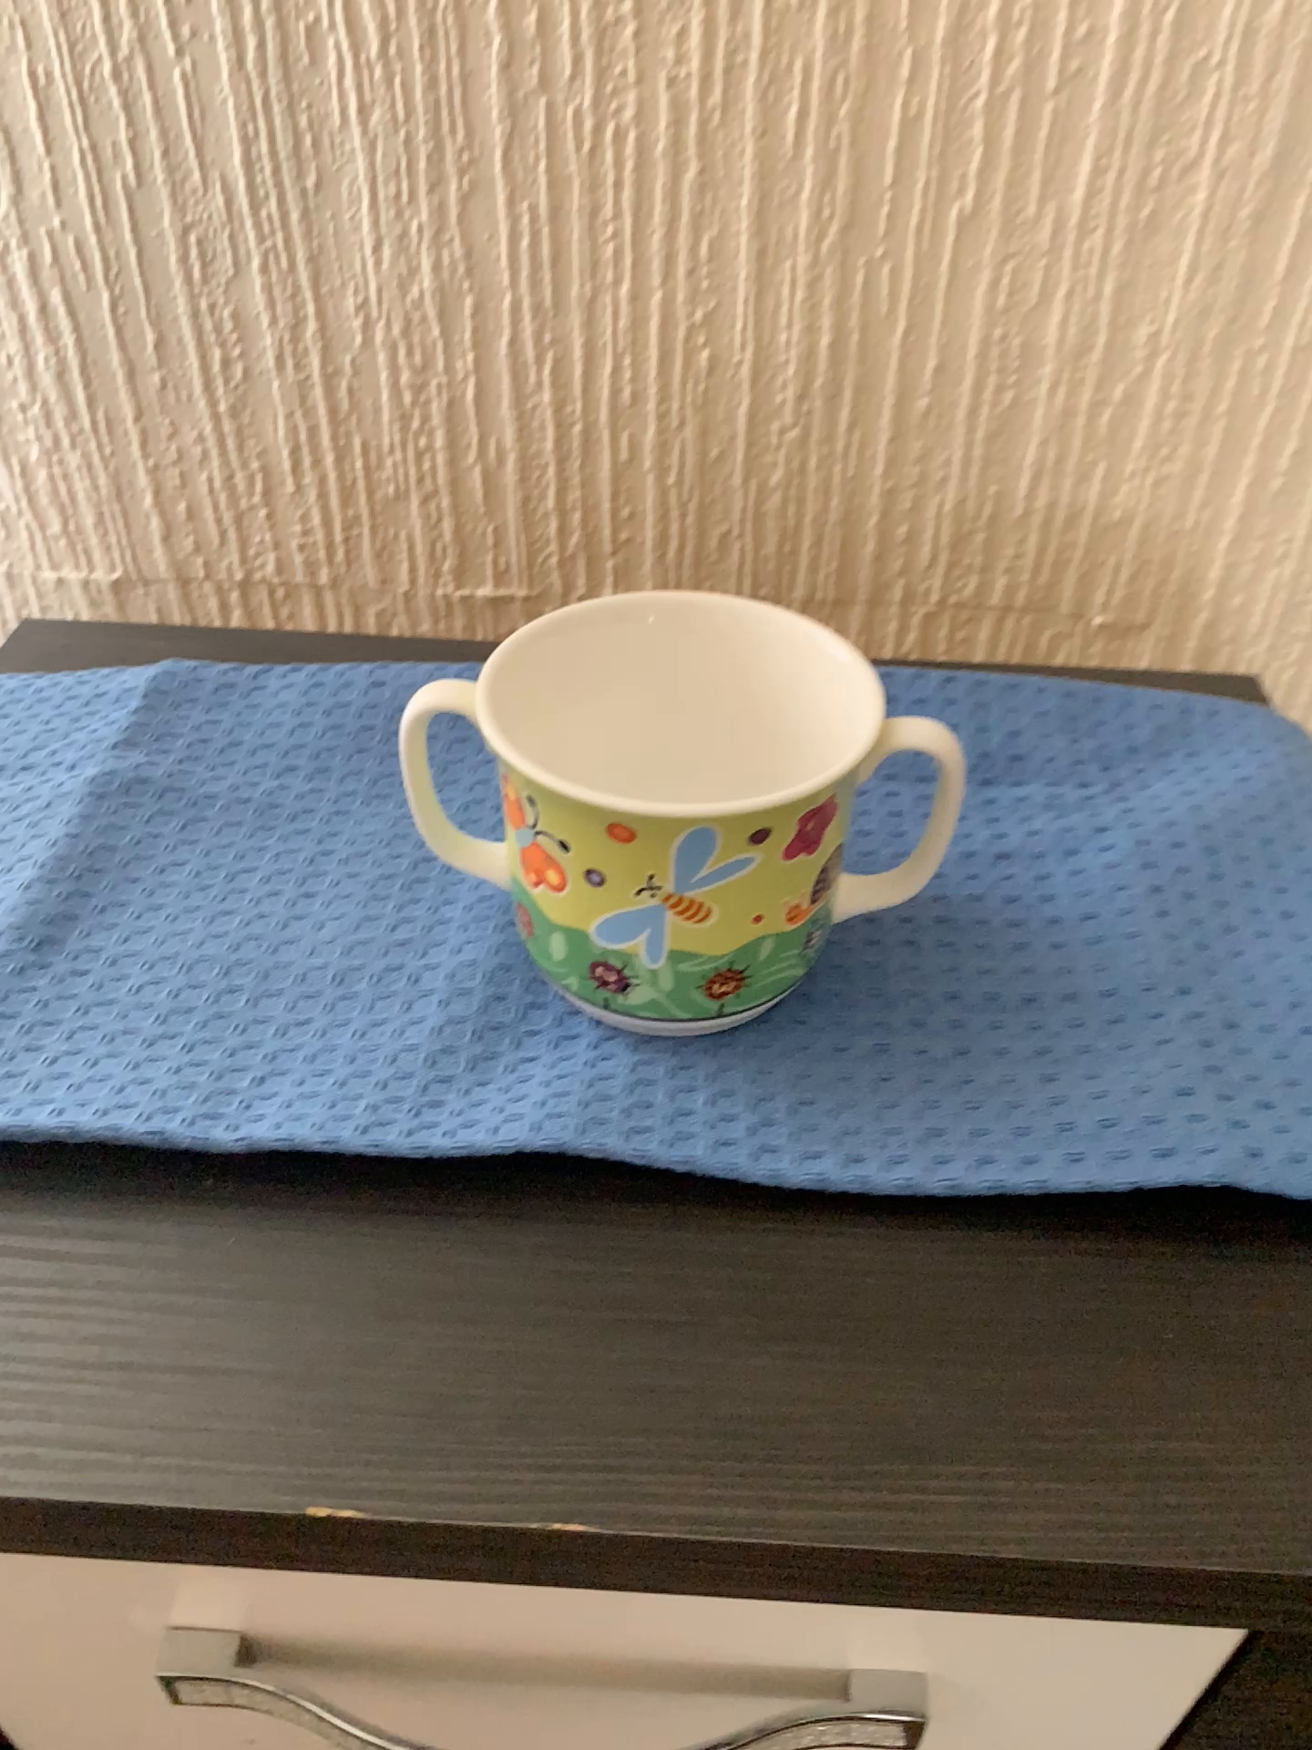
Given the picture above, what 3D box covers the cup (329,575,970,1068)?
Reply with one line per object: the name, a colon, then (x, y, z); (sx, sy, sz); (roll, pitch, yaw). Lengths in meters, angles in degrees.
cup: (0.000, -0.014, 0.306); (0.120, 0.069, 0.081); (3, 40, 2)
